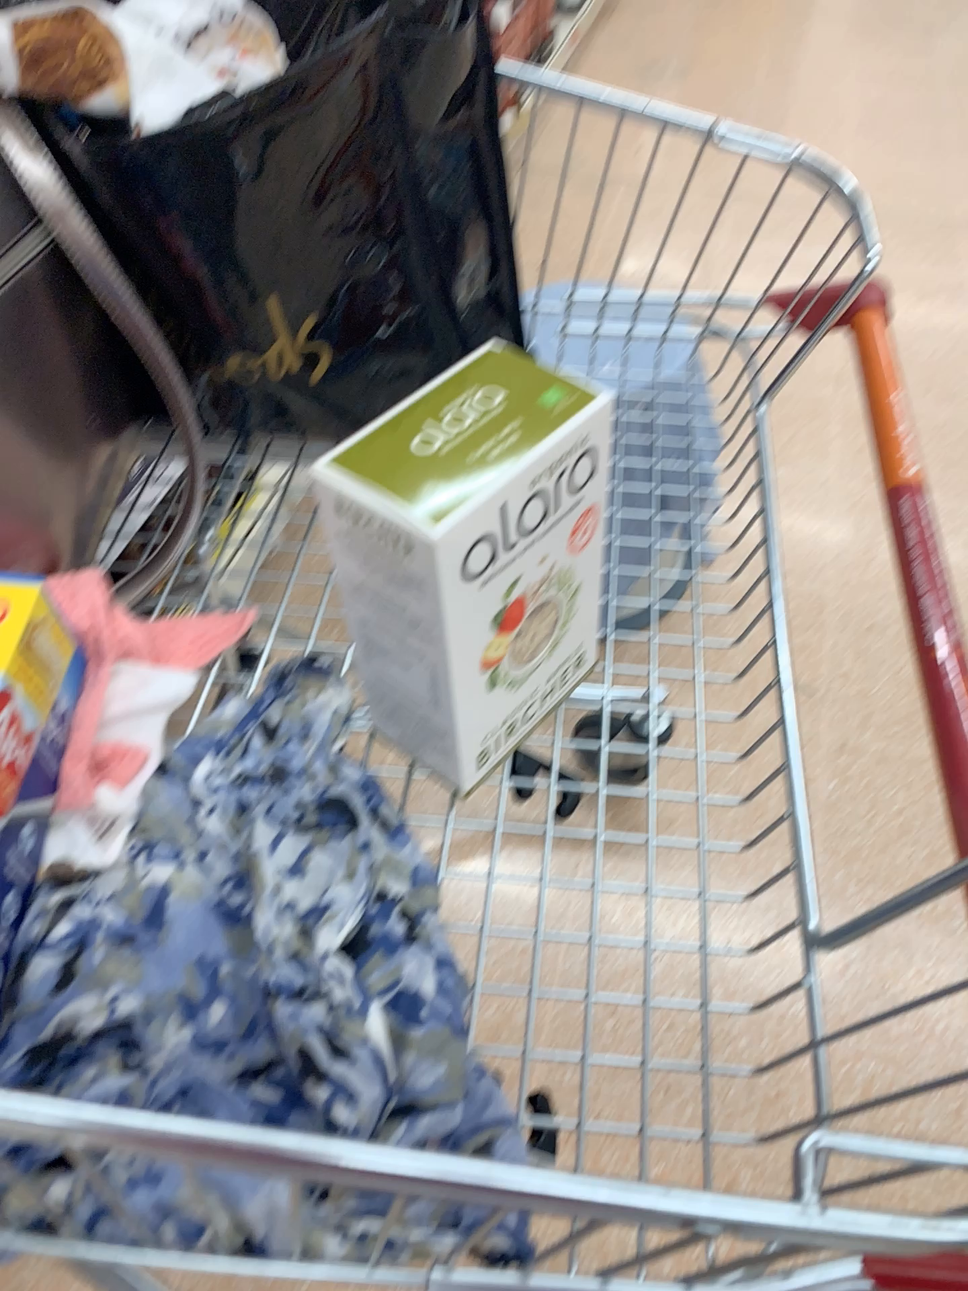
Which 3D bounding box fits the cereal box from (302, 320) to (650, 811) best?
[{"bbox_3d":[0.001,-0.033,0.461,0.080,0.178,0.121,32,56,27],"label":"cereal box"}]
